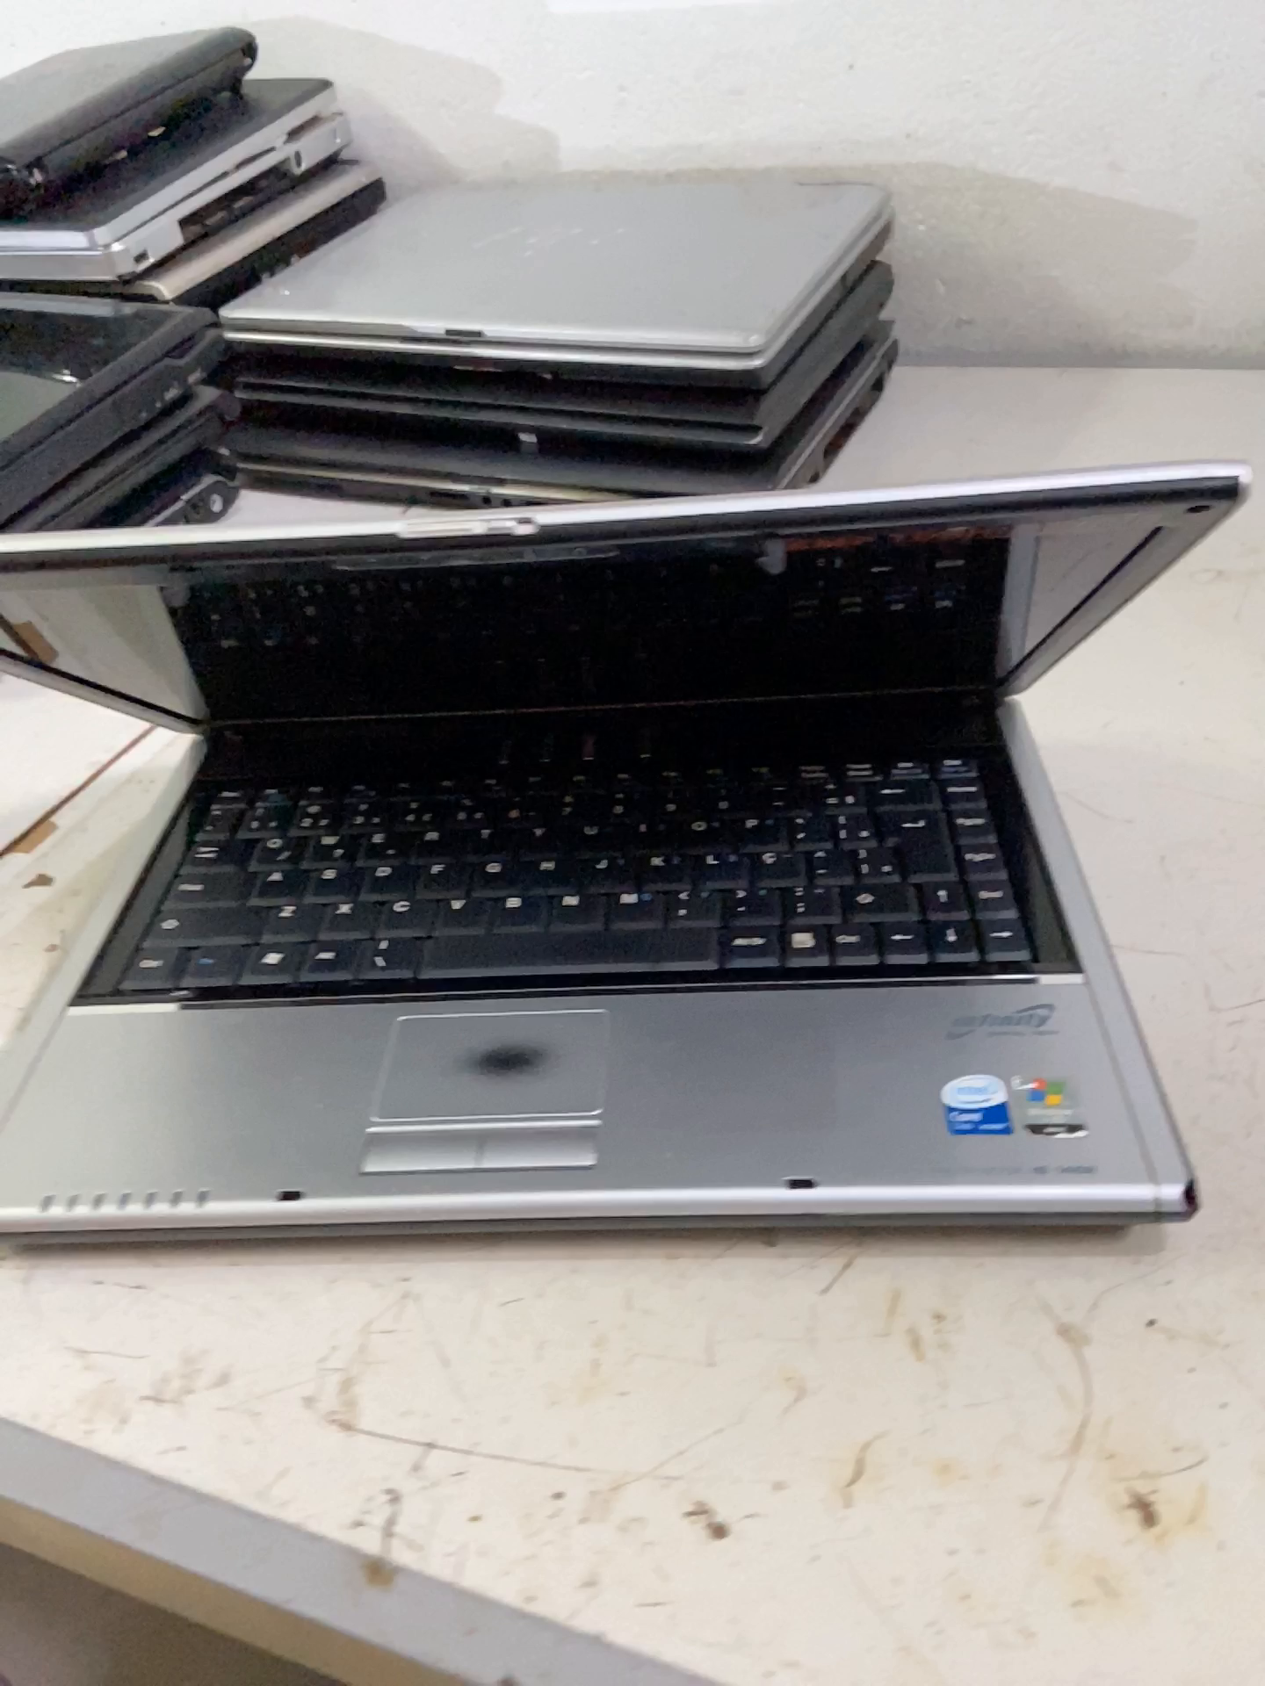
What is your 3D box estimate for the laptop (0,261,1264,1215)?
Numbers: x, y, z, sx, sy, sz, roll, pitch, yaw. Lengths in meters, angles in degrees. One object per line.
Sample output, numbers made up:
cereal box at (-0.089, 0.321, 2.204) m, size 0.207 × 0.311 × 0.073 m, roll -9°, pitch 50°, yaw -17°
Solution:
laptop at (-0.027, -0.040, 0.382) m, size 0.330 × 0.164 × 0.228 m, roll -3°, pitch 37°, yaw 5°
